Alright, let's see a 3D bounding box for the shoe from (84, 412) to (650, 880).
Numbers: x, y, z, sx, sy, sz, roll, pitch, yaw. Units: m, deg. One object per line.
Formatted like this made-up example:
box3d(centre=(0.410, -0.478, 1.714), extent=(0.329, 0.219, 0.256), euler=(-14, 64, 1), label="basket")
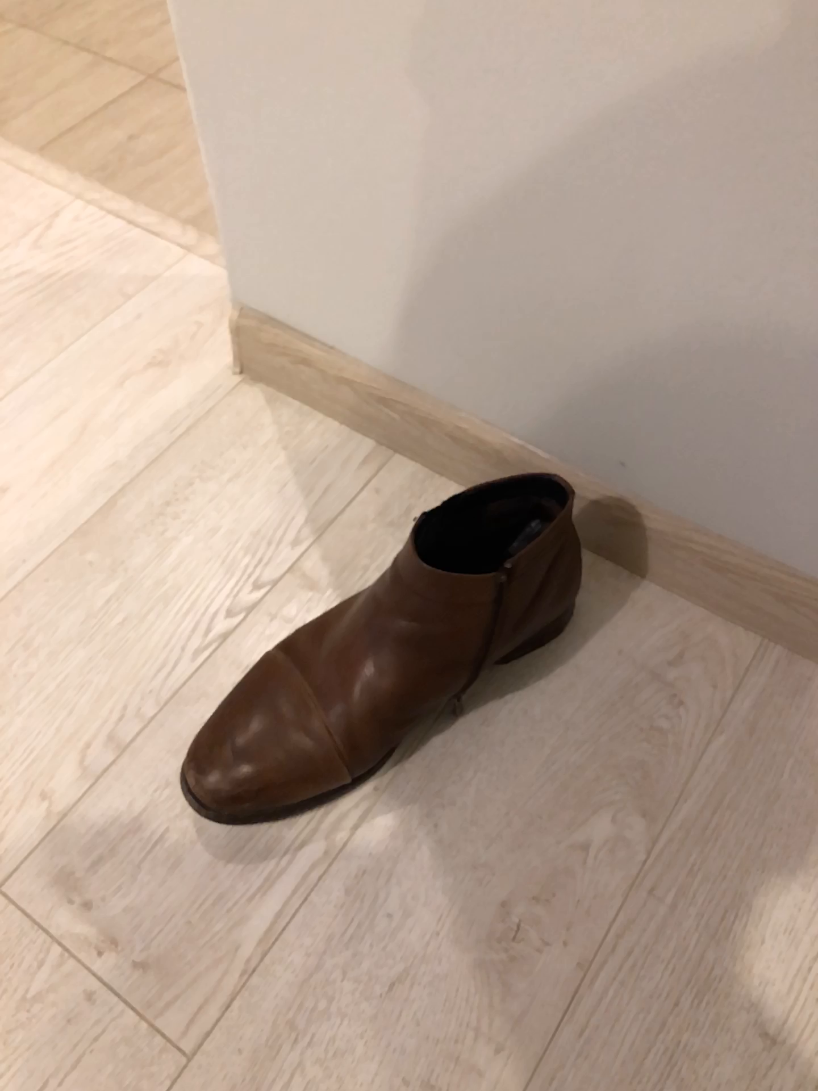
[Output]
box3d(centre=(-0.018, 0.055, 0.567), extent=(0.311, 0.109, 0.120), euler=(-29, 59, -18), label="shoe")
